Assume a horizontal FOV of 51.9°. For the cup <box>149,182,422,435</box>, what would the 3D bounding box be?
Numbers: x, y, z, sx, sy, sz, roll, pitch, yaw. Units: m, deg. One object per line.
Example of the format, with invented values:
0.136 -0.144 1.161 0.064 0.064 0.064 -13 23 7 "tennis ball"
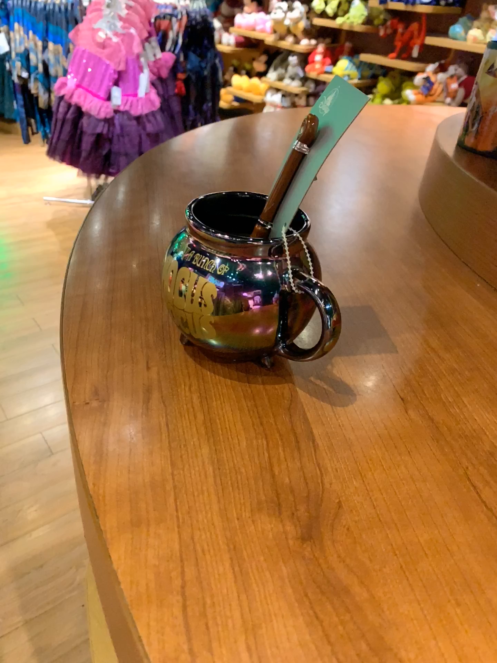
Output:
0.016 -0.027 0.334 0.100 0.089 0.137 -22 42 -35 "cup"
